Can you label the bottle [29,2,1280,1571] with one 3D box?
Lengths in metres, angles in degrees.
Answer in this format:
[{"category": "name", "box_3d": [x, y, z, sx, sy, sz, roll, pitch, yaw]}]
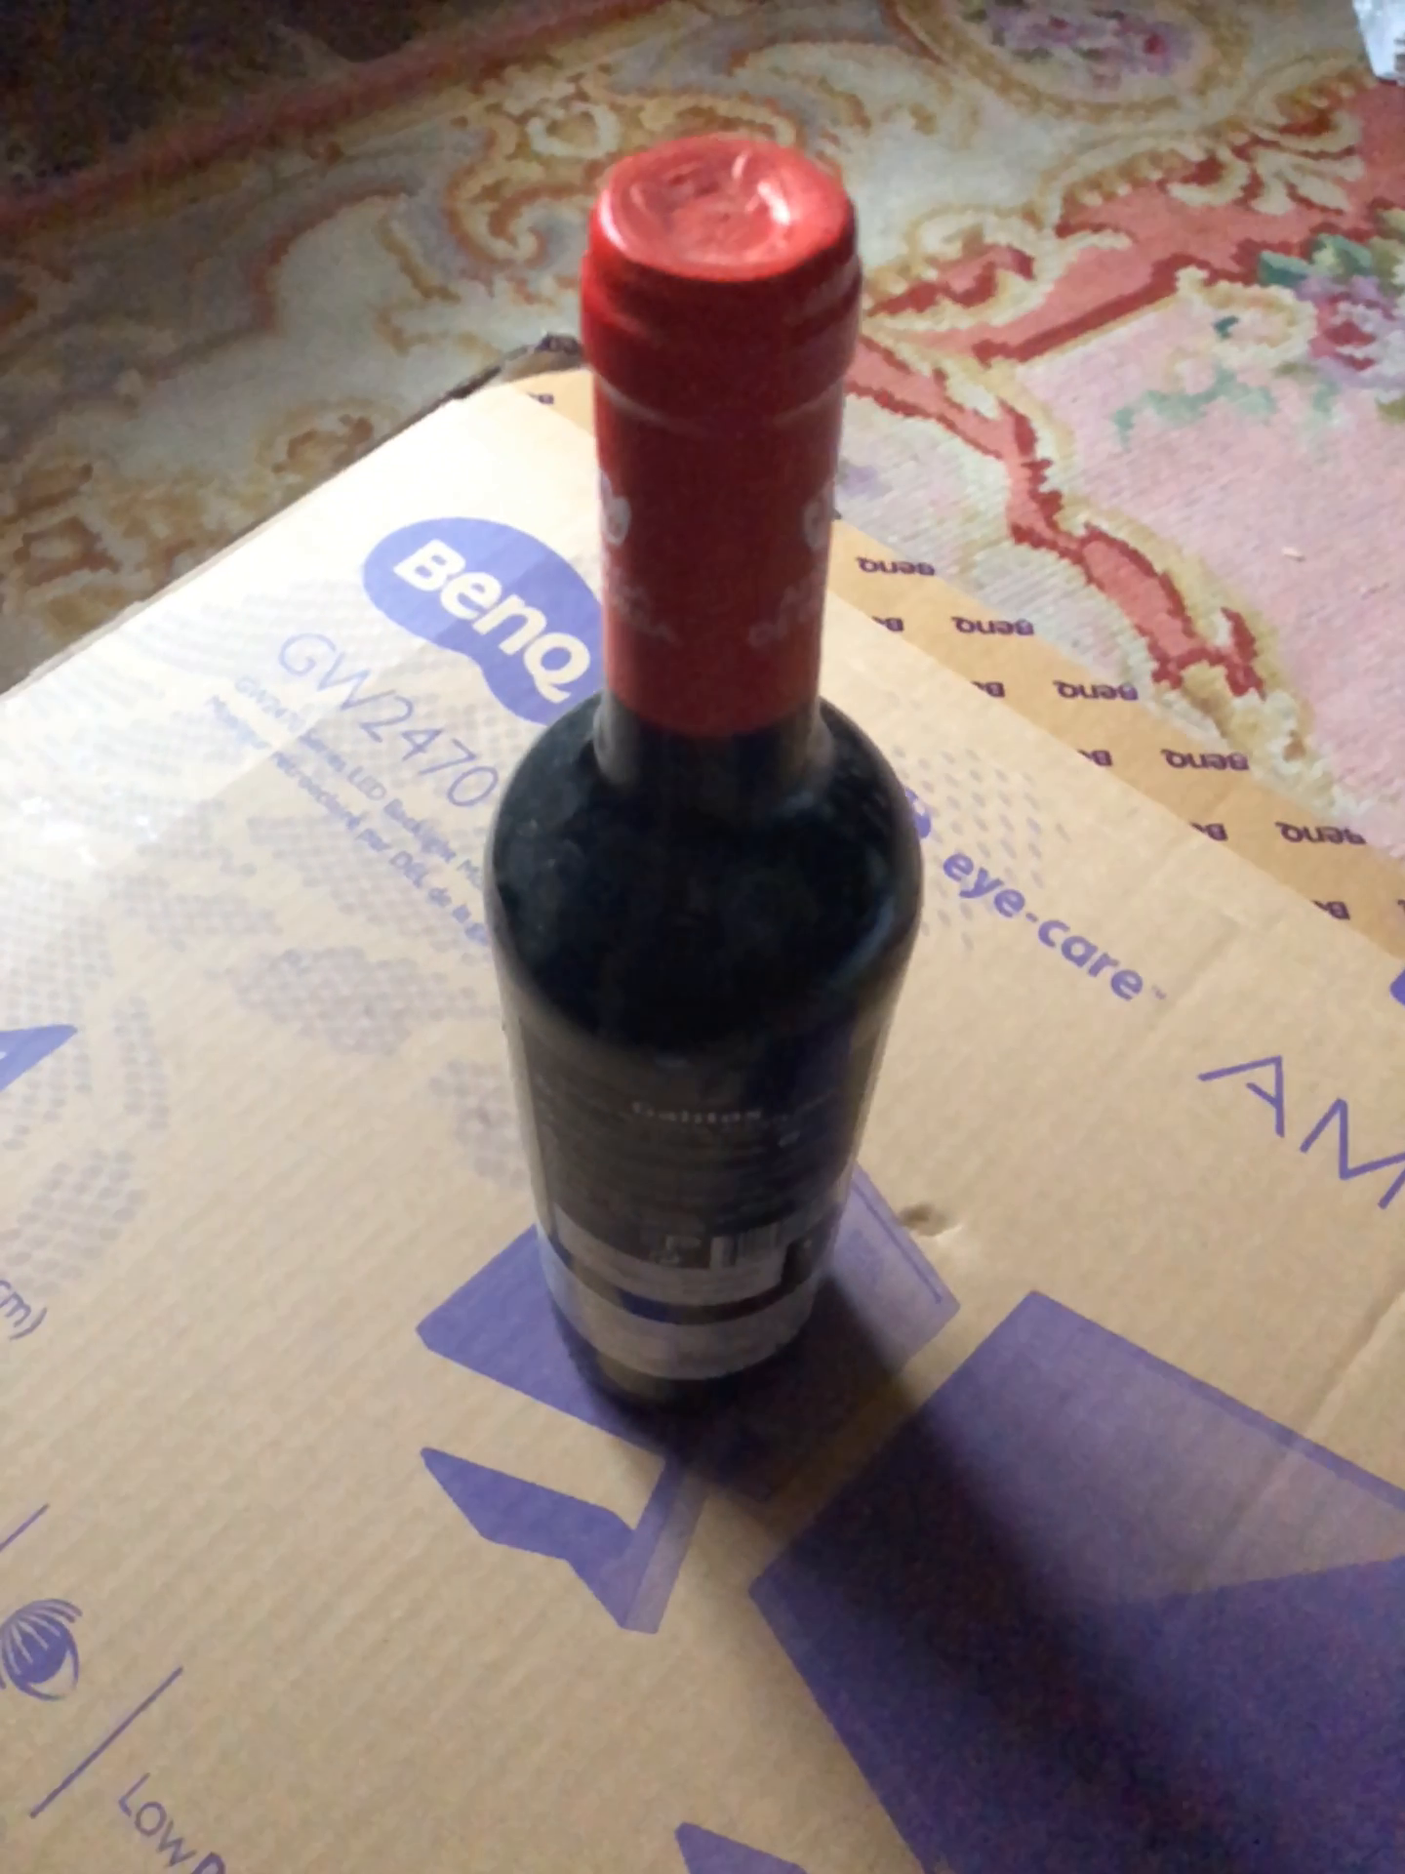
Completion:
[{"category": "bottle", "box_3d": [-0.002, 0.018, 0.284, 0.090, 0.299, 0.090, -1, 57, 1]}]
